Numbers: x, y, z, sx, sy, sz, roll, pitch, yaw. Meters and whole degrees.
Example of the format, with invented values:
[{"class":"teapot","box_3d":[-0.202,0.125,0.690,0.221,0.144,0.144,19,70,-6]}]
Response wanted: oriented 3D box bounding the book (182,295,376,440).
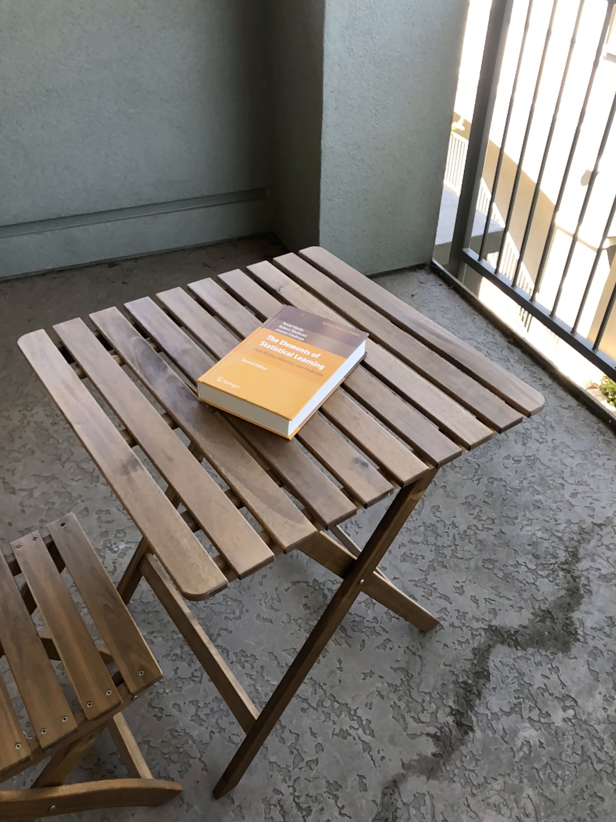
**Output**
[{"class":"book","box_3d":[-0.037,-0.077,1.027,0.180,0.040,0.251,23,45,23]}]
